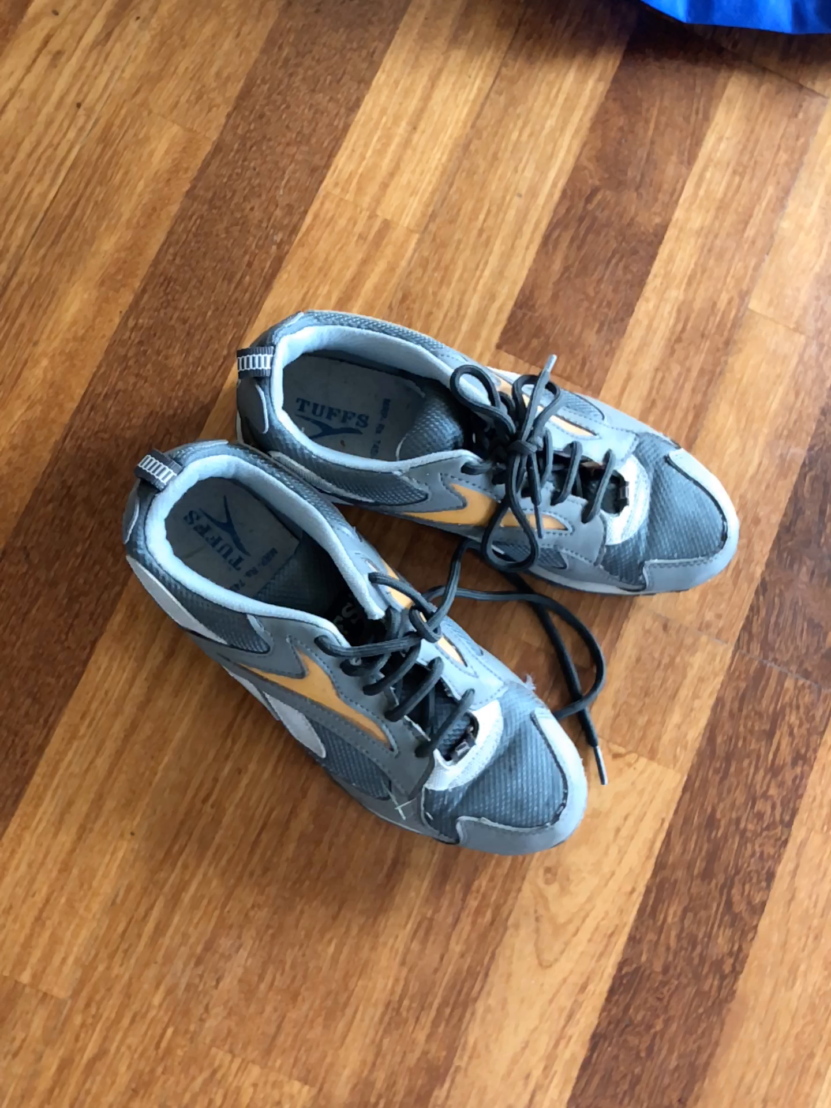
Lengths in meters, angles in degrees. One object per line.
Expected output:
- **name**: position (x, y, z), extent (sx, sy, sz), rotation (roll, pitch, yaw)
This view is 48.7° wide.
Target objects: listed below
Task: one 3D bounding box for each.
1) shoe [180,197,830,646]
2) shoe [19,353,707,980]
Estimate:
- **shoe**: position (0.044, -0.055, 0.461), extent (0.283, 0.099, 0.112), rotation (19, 78, -3)
- **shoe**: position (-0.024, 0.051, 0.428), extent (0.283, 0.088, 0.110), rotation (39, 77, 0)
